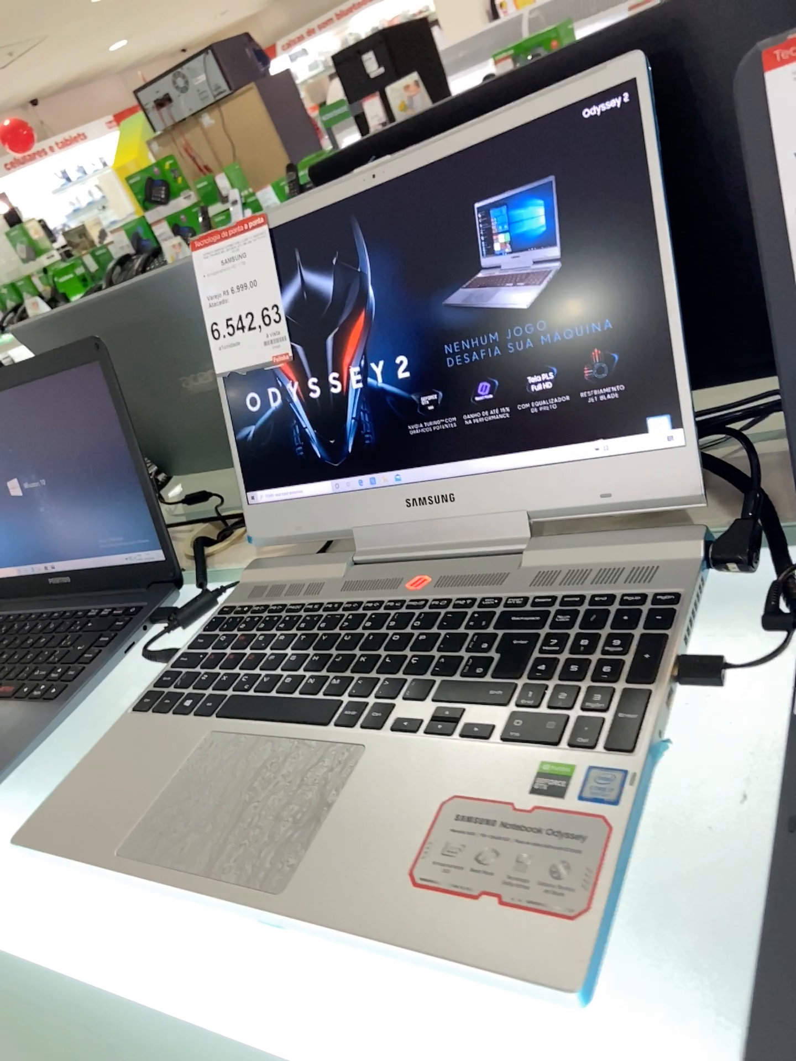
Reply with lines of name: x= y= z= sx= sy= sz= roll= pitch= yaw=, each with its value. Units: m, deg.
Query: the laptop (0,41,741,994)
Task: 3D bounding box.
laptop: x=-0.051 y=-0.035 z=0.447 sx=0.354 sy=0.225 sz=0.369 roll=-6 pitch=33 yaw=36
